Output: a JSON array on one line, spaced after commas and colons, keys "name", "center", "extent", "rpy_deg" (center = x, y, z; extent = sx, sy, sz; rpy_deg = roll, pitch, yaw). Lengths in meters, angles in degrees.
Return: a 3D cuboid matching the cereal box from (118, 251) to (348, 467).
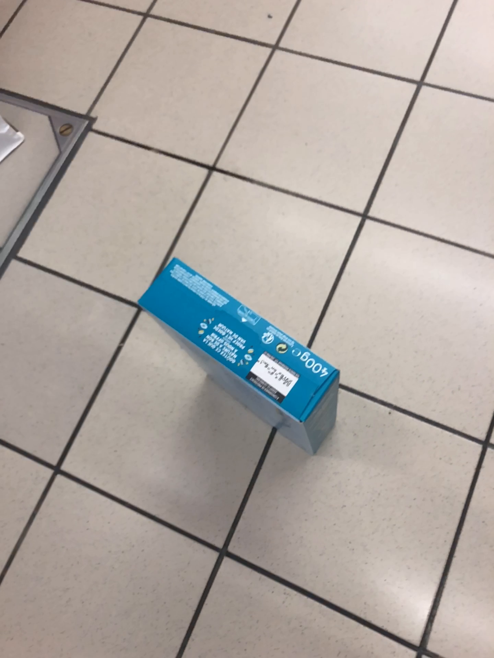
[{"name": "cereal box", "center": [0.002, 0.043, 0.482], "extent": [0.160, 0.240, 0.050], "rpy_deg": [34, 79, 17]}]
